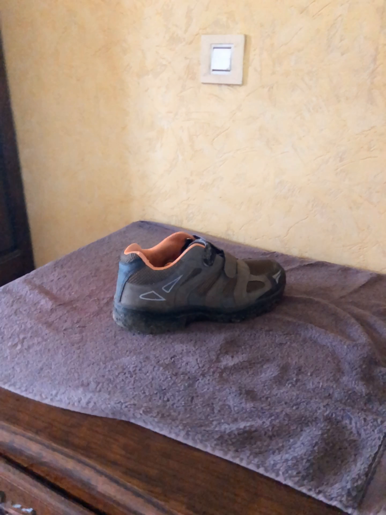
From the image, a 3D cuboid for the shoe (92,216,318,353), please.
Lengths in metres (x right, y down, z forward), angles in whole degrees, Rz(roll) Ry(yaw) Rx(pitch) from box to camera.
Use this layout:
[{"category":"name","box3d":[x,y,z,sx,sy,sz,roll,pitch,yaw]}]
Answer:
[{"category":"shoe","box3d":[0.016,0.024,0.569,0.271,0.099,0.110,-9,26,-22]}]
